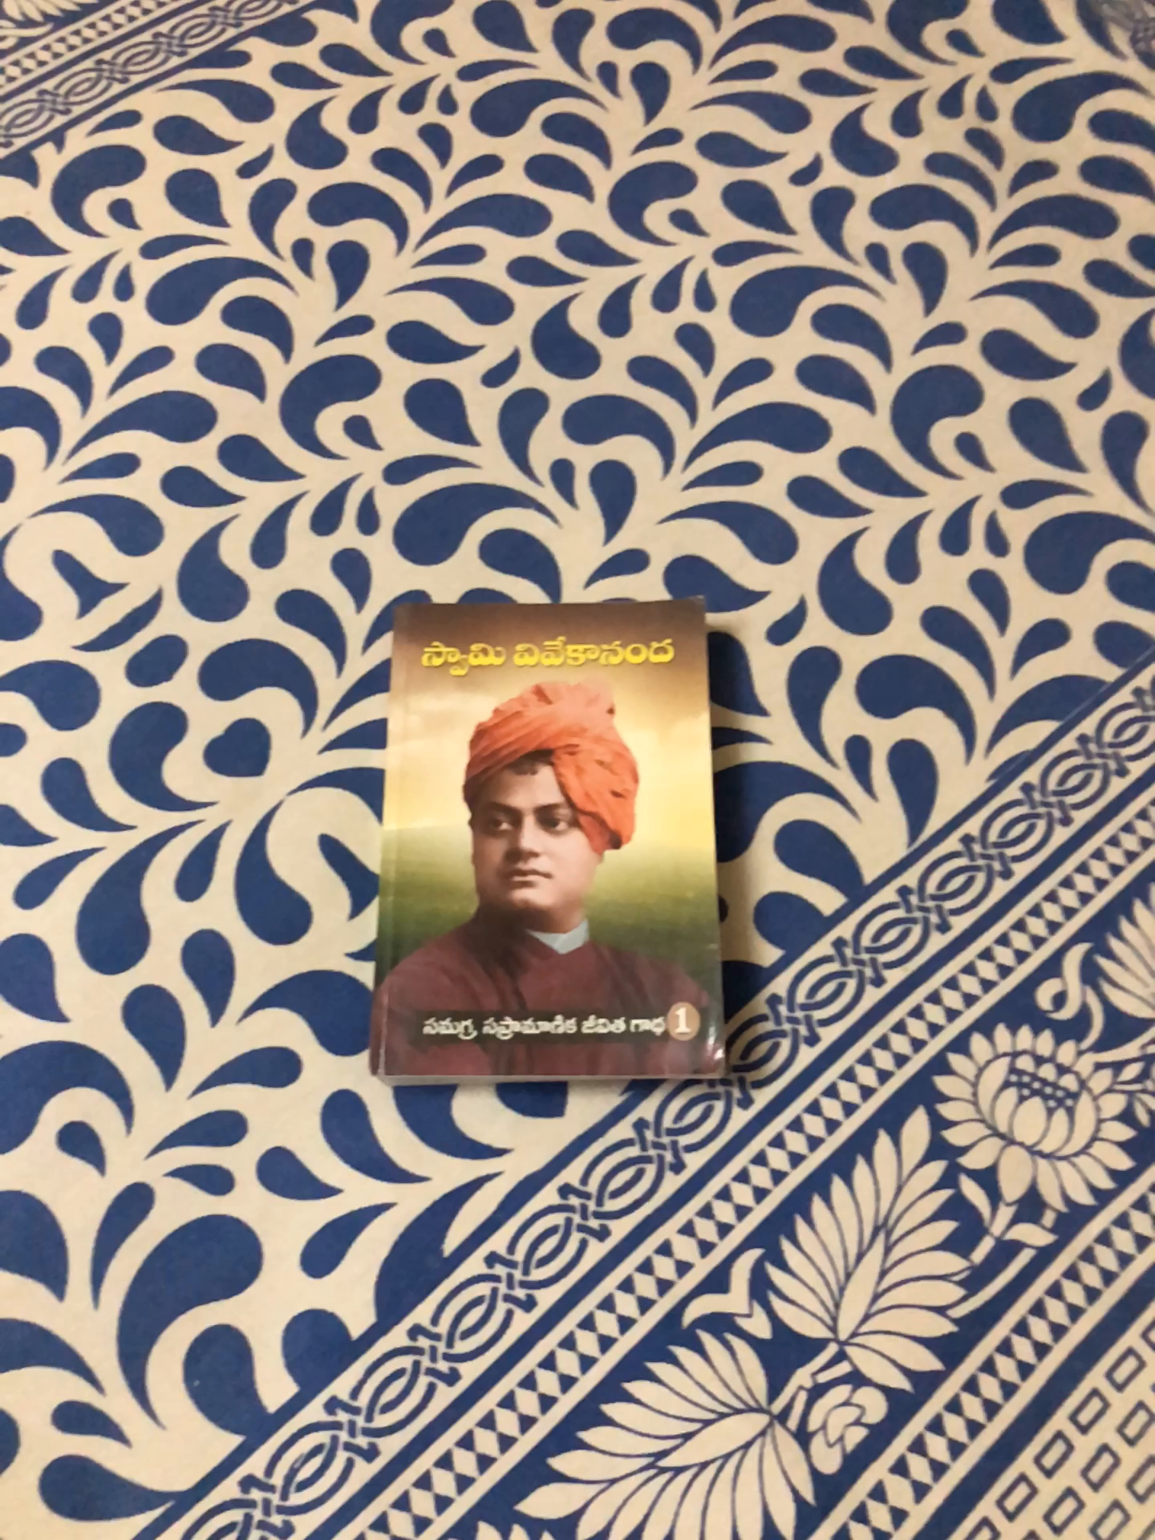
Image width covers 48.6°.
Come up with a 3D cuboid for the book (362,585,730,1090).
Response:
[{"bbox_3d":[-0.013,0.024,0.536,0.140,0.030,0.210,0,71,0],"label":"book"}]
